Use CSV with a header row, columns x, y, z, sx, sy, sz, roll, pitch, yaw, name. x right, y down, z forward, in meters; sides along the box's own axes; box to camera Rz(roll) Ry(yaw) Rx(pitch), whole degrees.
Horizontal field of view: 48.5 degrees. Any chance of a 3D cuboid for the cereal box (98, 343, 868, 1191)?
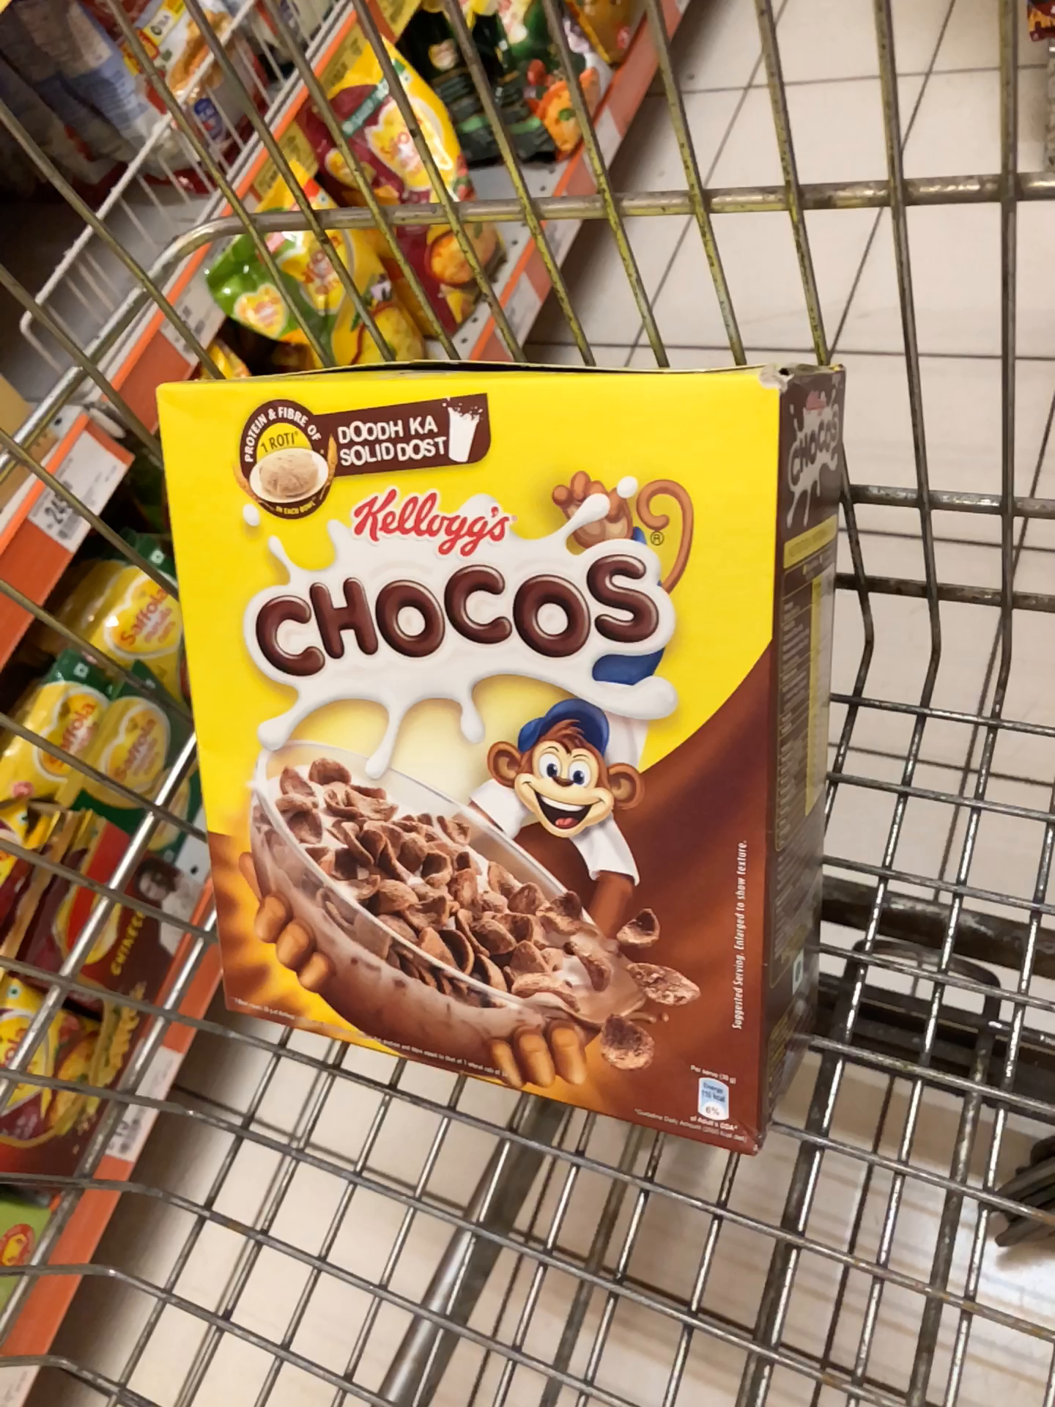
x,y,z,sx,sy,sz,roll,pitch,yaw,name
-0.013,0.005,0.332,0.190,0.070,0.199,7,108,25,cereal box
